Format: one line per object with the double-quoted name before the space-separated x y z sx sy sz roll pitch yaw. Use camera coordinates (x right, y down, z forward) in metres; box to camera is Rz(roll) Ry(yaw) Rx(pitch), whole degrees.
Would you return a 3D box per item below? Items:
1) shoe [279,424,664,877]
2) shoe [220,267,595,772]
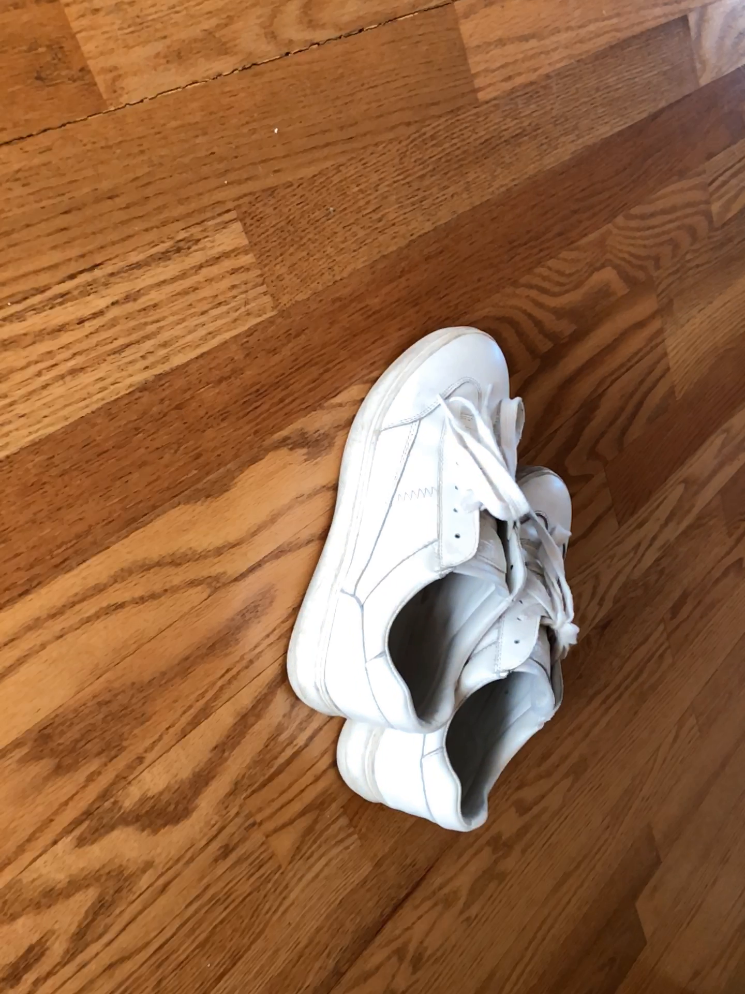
"shoe" 0.073 0.086 0.539 0.103 0.106 0.260 48 65 -34
"shoe" 0.024 0.010 0.490 0.103 0.104 0.260 28 78 -40
